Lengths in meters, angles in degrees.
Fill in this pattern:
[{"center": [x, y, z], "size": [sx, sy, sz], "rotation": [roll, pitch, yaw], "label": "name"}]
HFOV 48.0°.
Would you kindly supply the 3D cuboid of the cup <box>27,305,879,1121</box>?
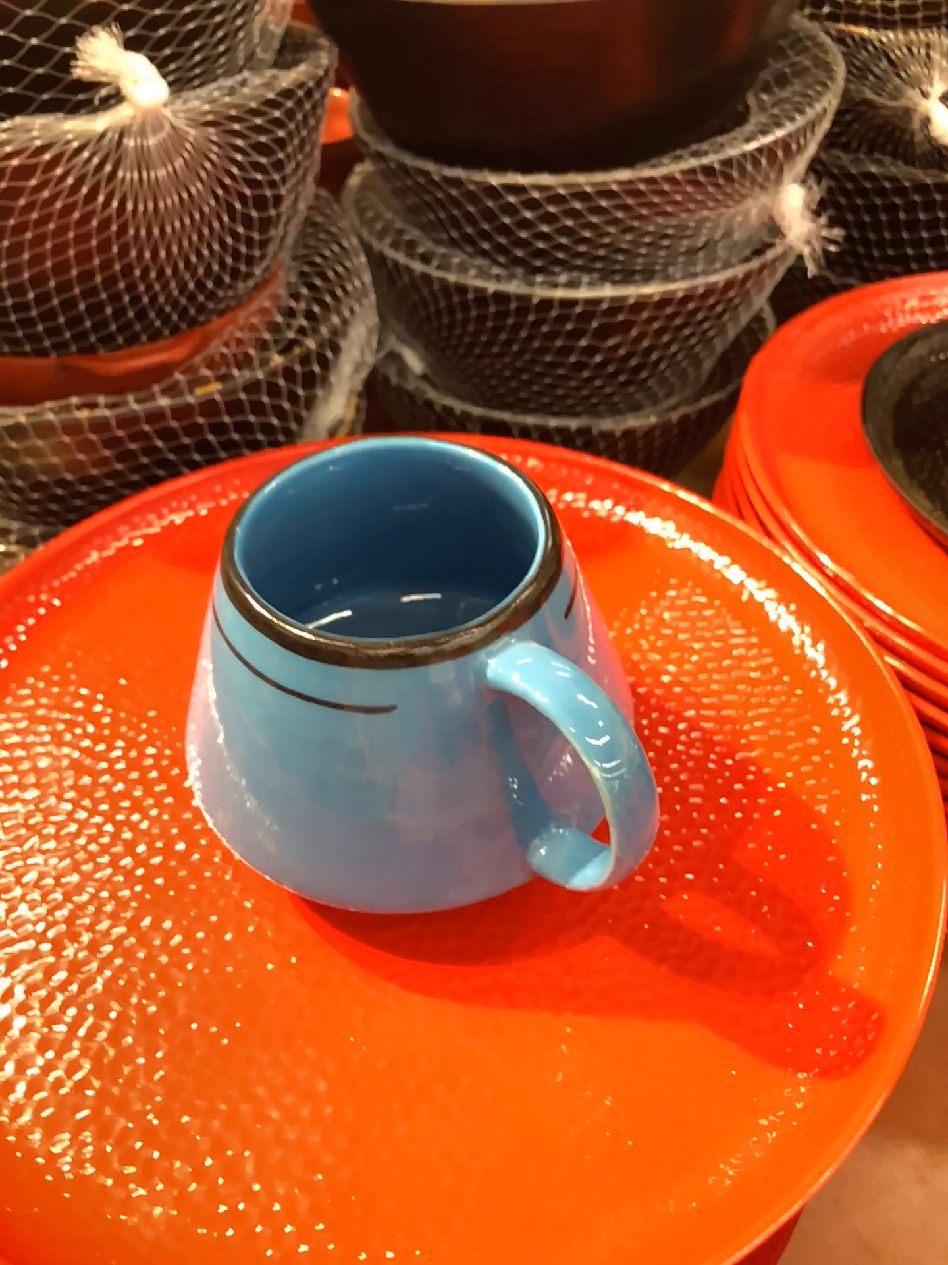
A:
[{"center": [-0.007, 0.006, 0.251], "size": [0.111, 0.089, 0.140], "rotation": [-34, 53, -31], "label": "cup"}]
